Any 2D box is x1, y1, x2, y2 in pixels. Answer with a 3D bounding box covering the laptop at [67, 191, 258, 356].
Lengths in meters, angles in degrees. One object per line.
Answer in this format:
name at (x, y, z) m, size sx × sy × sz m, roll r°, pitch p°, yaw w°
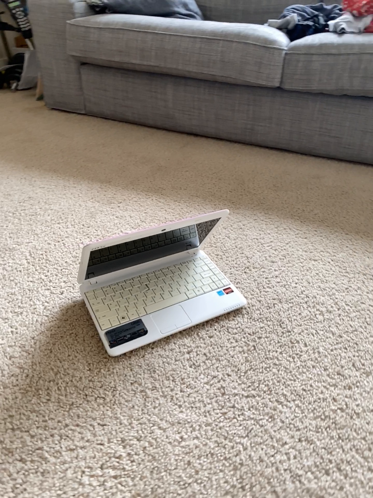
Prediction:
laptop at (-0.045, 0.028, 0.717) m, size 0.286 × 0.147 × 0.188 m, roll -16°, pitch 41°, yaw -24°
